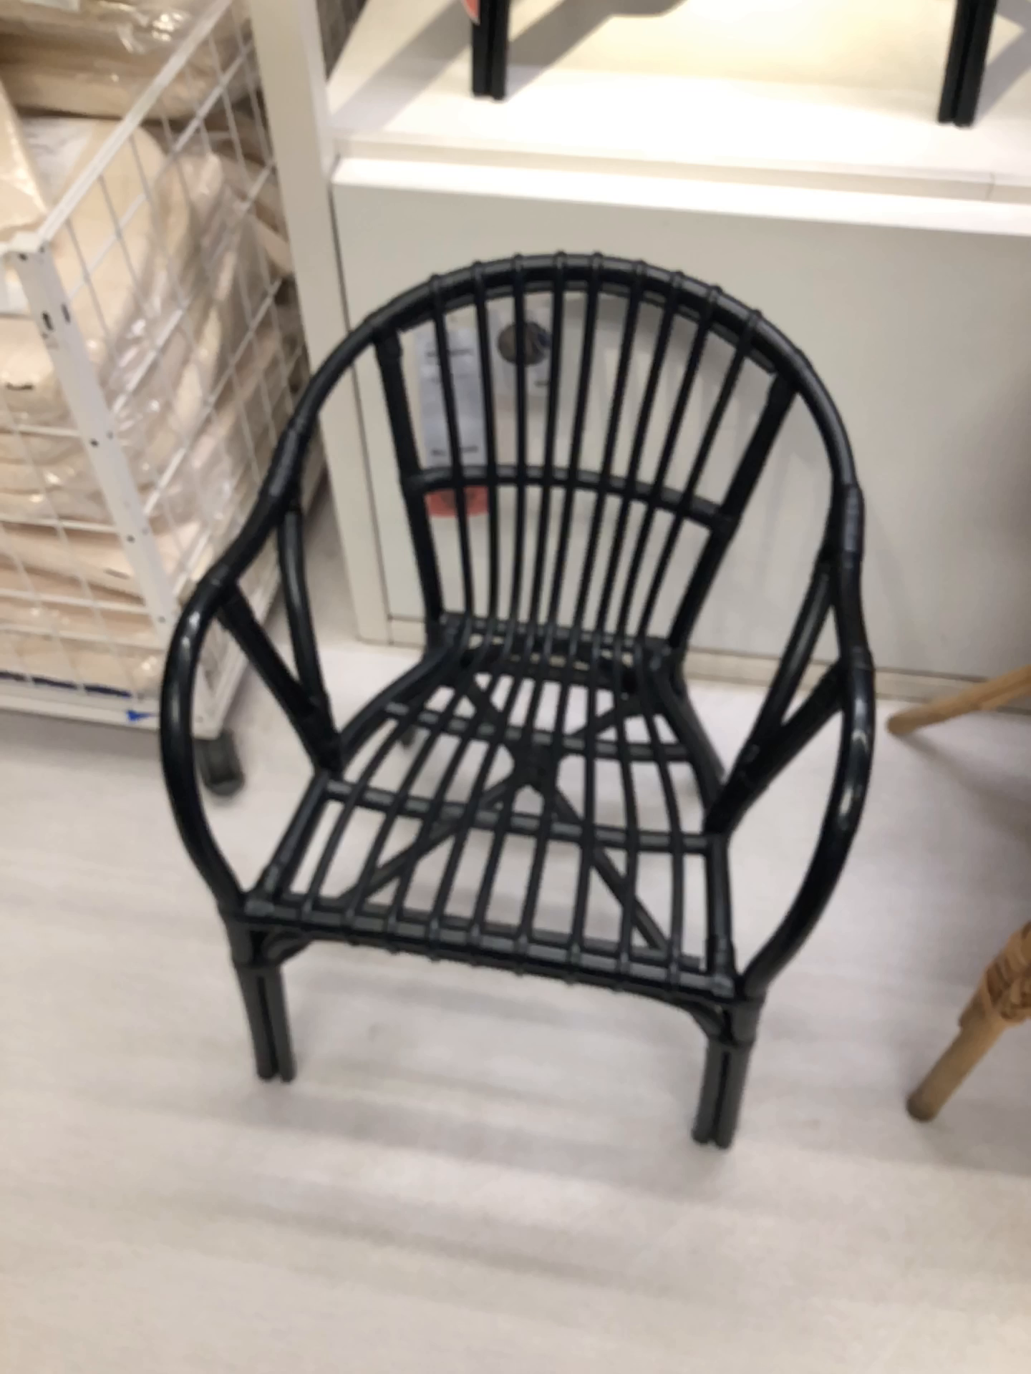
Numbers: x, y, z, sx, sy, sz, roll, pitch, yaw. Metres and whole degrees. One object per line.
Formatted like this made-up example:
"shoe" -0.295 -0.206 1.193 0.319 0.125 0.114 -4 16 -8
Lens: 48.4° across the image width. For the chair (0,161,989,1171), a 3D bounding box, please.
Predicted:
"chair" 0.002 0.036 1.030 0.550 0.756 0.472 7 53 6
